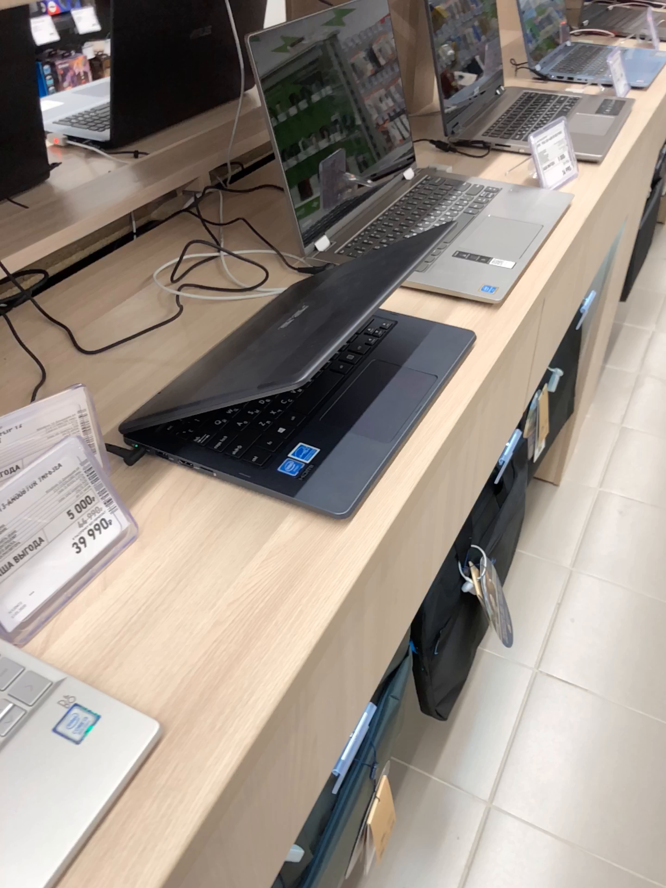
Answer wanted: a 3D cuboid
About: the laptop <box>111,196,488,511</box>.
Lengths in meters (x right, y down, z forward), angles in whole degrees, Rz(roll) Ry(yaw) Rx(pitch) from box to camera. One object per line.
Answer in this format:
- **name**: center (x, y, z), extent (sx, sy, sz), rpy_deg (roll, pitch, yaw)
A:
- **laptop**: center (-0.011, -0.095, 0.601), extent (0.185, 0.097, 0.273), rpy_deg (18, 42, 21)
